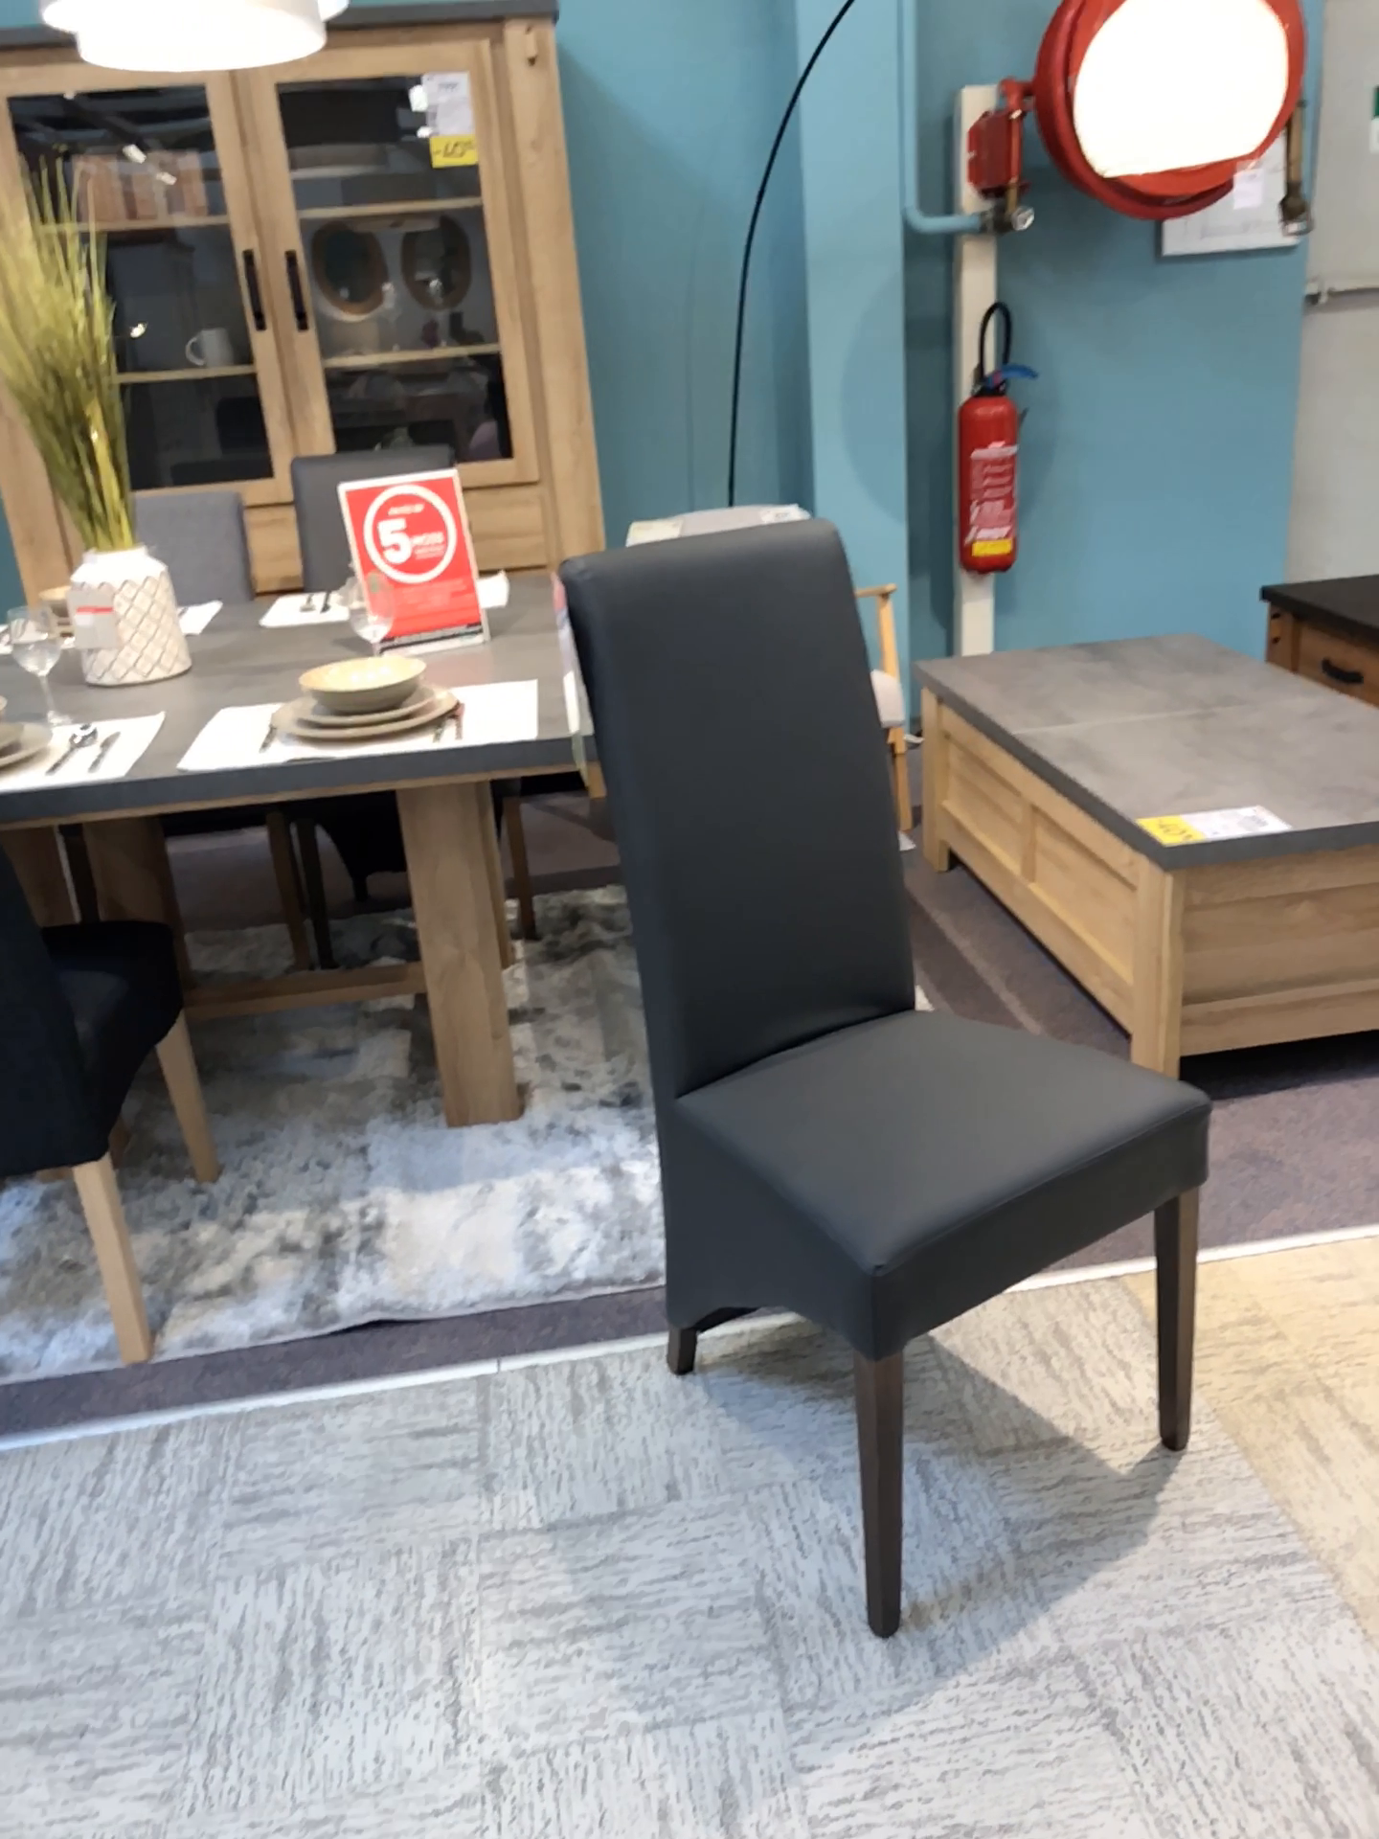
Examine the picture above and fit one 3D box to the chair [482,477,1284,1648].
[{"bbox_3d":[0.197,0.087,1.633,0.522,1.015,0.570,-17,25,-31],"label":"chair"}]
